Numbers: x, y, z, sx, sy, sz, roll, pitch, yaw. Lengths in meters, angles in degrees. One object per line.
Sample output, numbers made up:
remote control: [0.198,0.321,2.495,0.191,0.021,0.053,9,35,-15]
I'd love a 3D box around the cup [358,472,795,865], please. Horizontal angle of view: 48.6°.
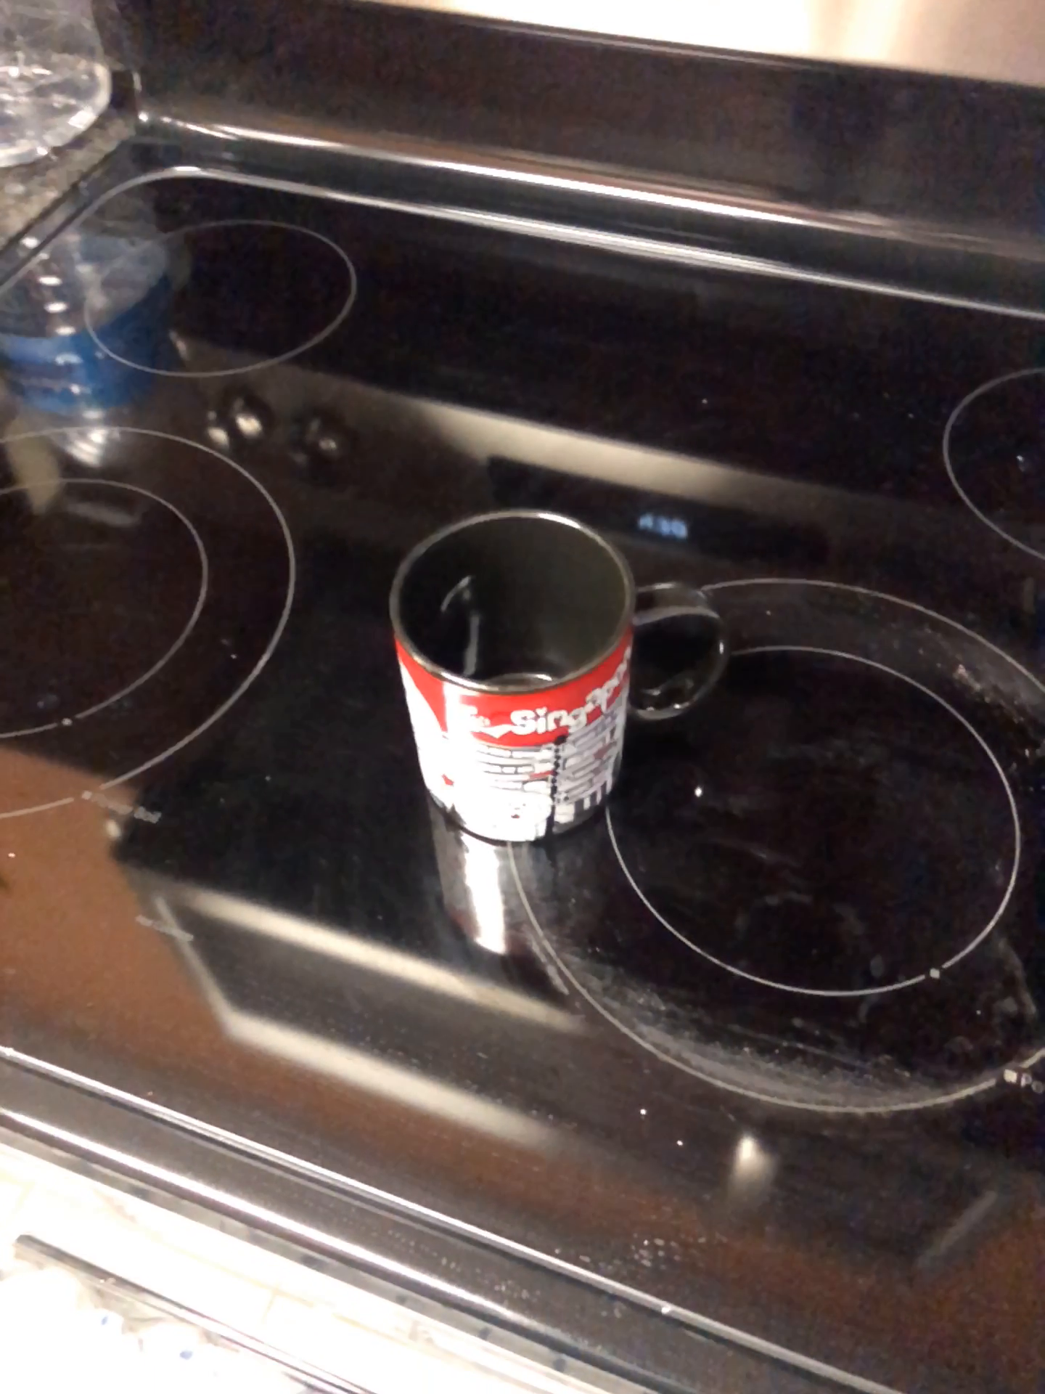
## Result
cup: [0.014,-0.009,0.410,0.130,0.090,0.090,-6,52,-3]
